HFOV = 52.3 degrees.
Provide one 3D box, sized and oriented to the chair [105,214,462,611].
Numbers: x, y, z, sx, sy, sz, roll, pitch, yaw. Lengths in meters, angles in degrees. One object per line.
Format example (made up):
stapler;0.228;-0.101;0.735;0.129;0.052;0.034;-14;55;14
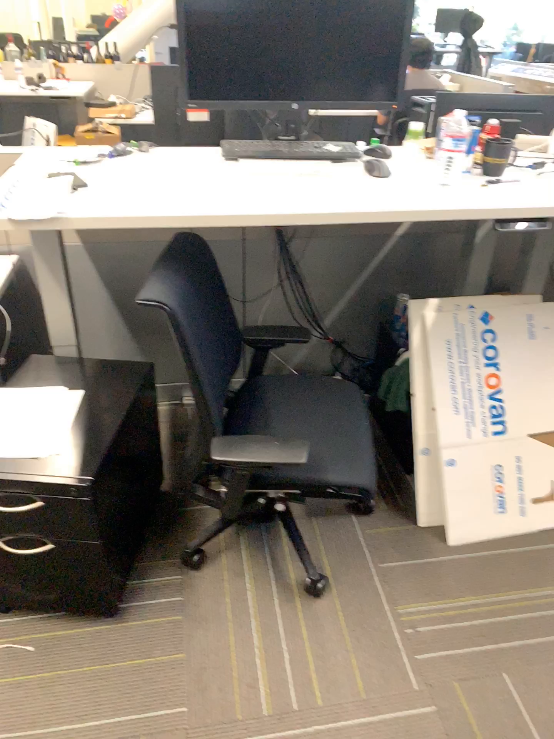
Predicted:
chair;0.030;0.078;1.675;0.720;0.805;0.785;5;32;4
